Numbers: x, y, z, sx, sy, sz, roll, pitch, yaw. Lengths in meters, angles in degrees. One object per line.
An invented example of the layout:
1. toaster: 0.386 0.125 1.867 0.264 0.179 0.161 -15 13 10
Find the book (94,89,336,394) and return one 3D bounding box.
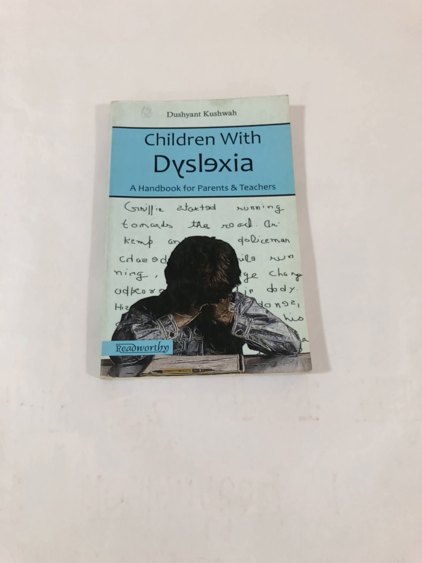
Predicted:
1. book: -0.001 -0.035 0.340 0.150 0.030 0.220 -2 72 -1
